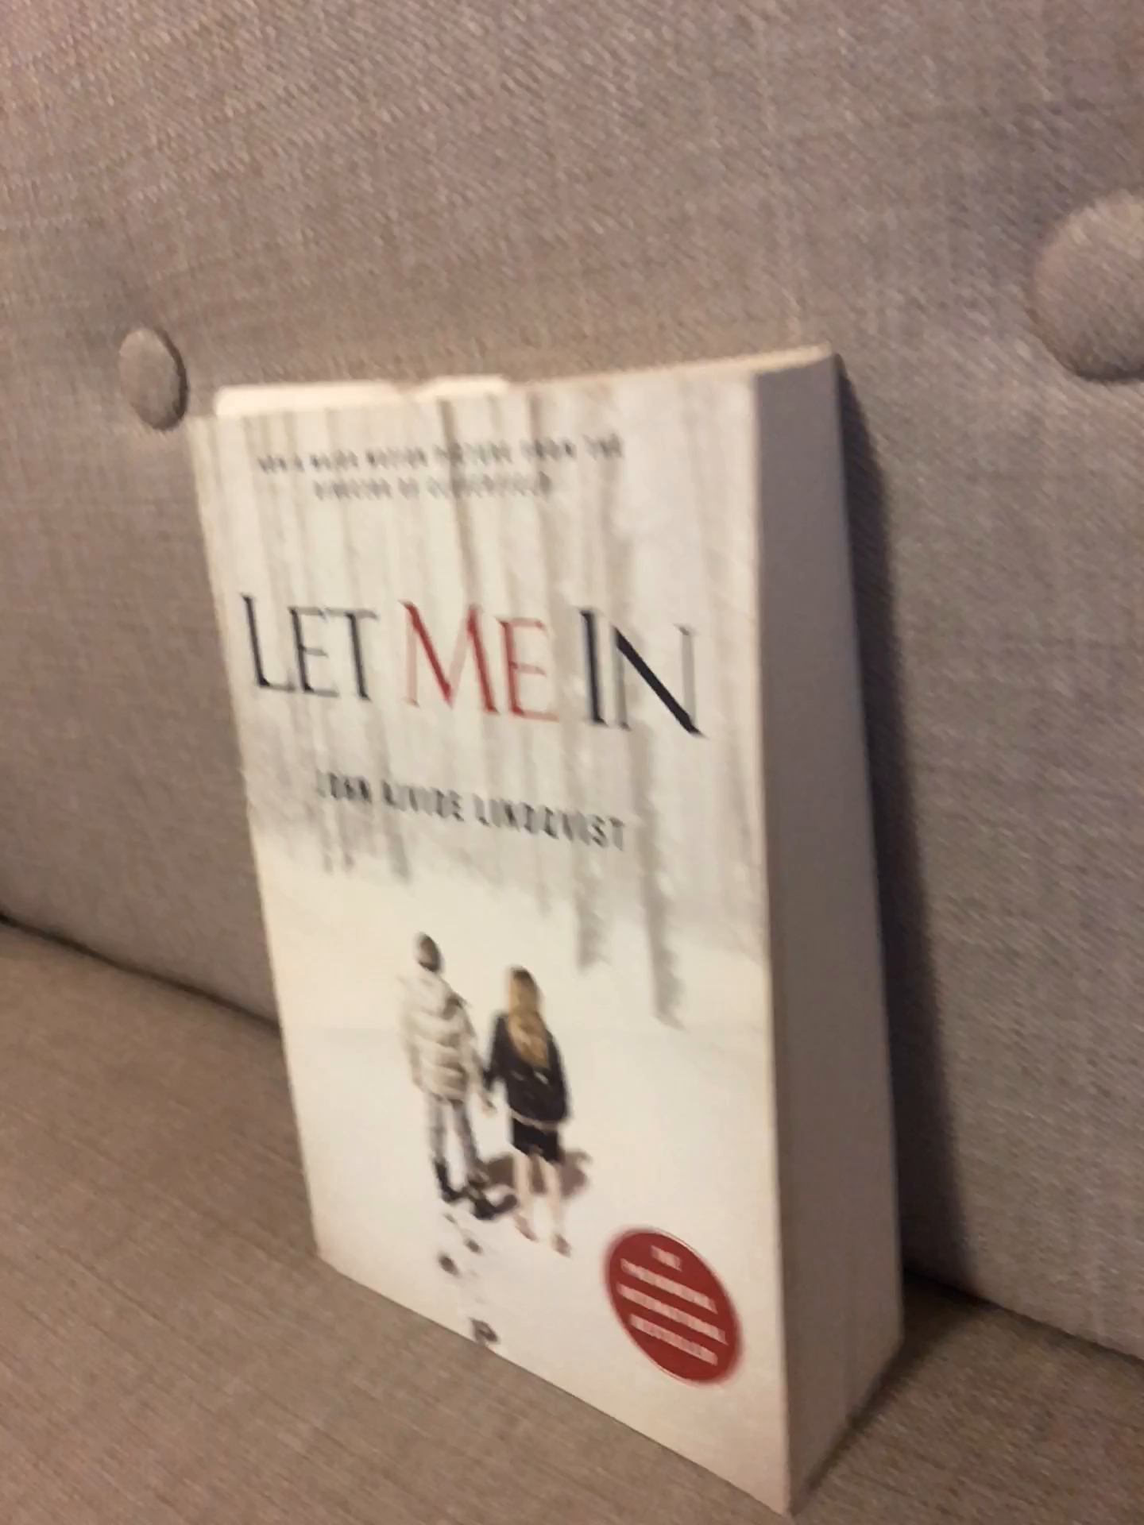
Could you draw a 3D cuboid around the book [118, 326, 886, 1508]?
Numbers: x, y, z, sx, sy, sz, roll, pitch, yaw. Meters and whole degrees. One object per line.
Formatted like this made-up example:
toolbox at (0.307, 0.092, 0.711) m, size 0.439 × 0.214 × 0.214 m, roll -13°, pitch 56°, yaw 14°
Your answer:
book at (-0.014, 0.028, 0.277) m, size 0.147 × 0.216 × 0.043 m, roll 3°, pitch 15°, yaw 32°
